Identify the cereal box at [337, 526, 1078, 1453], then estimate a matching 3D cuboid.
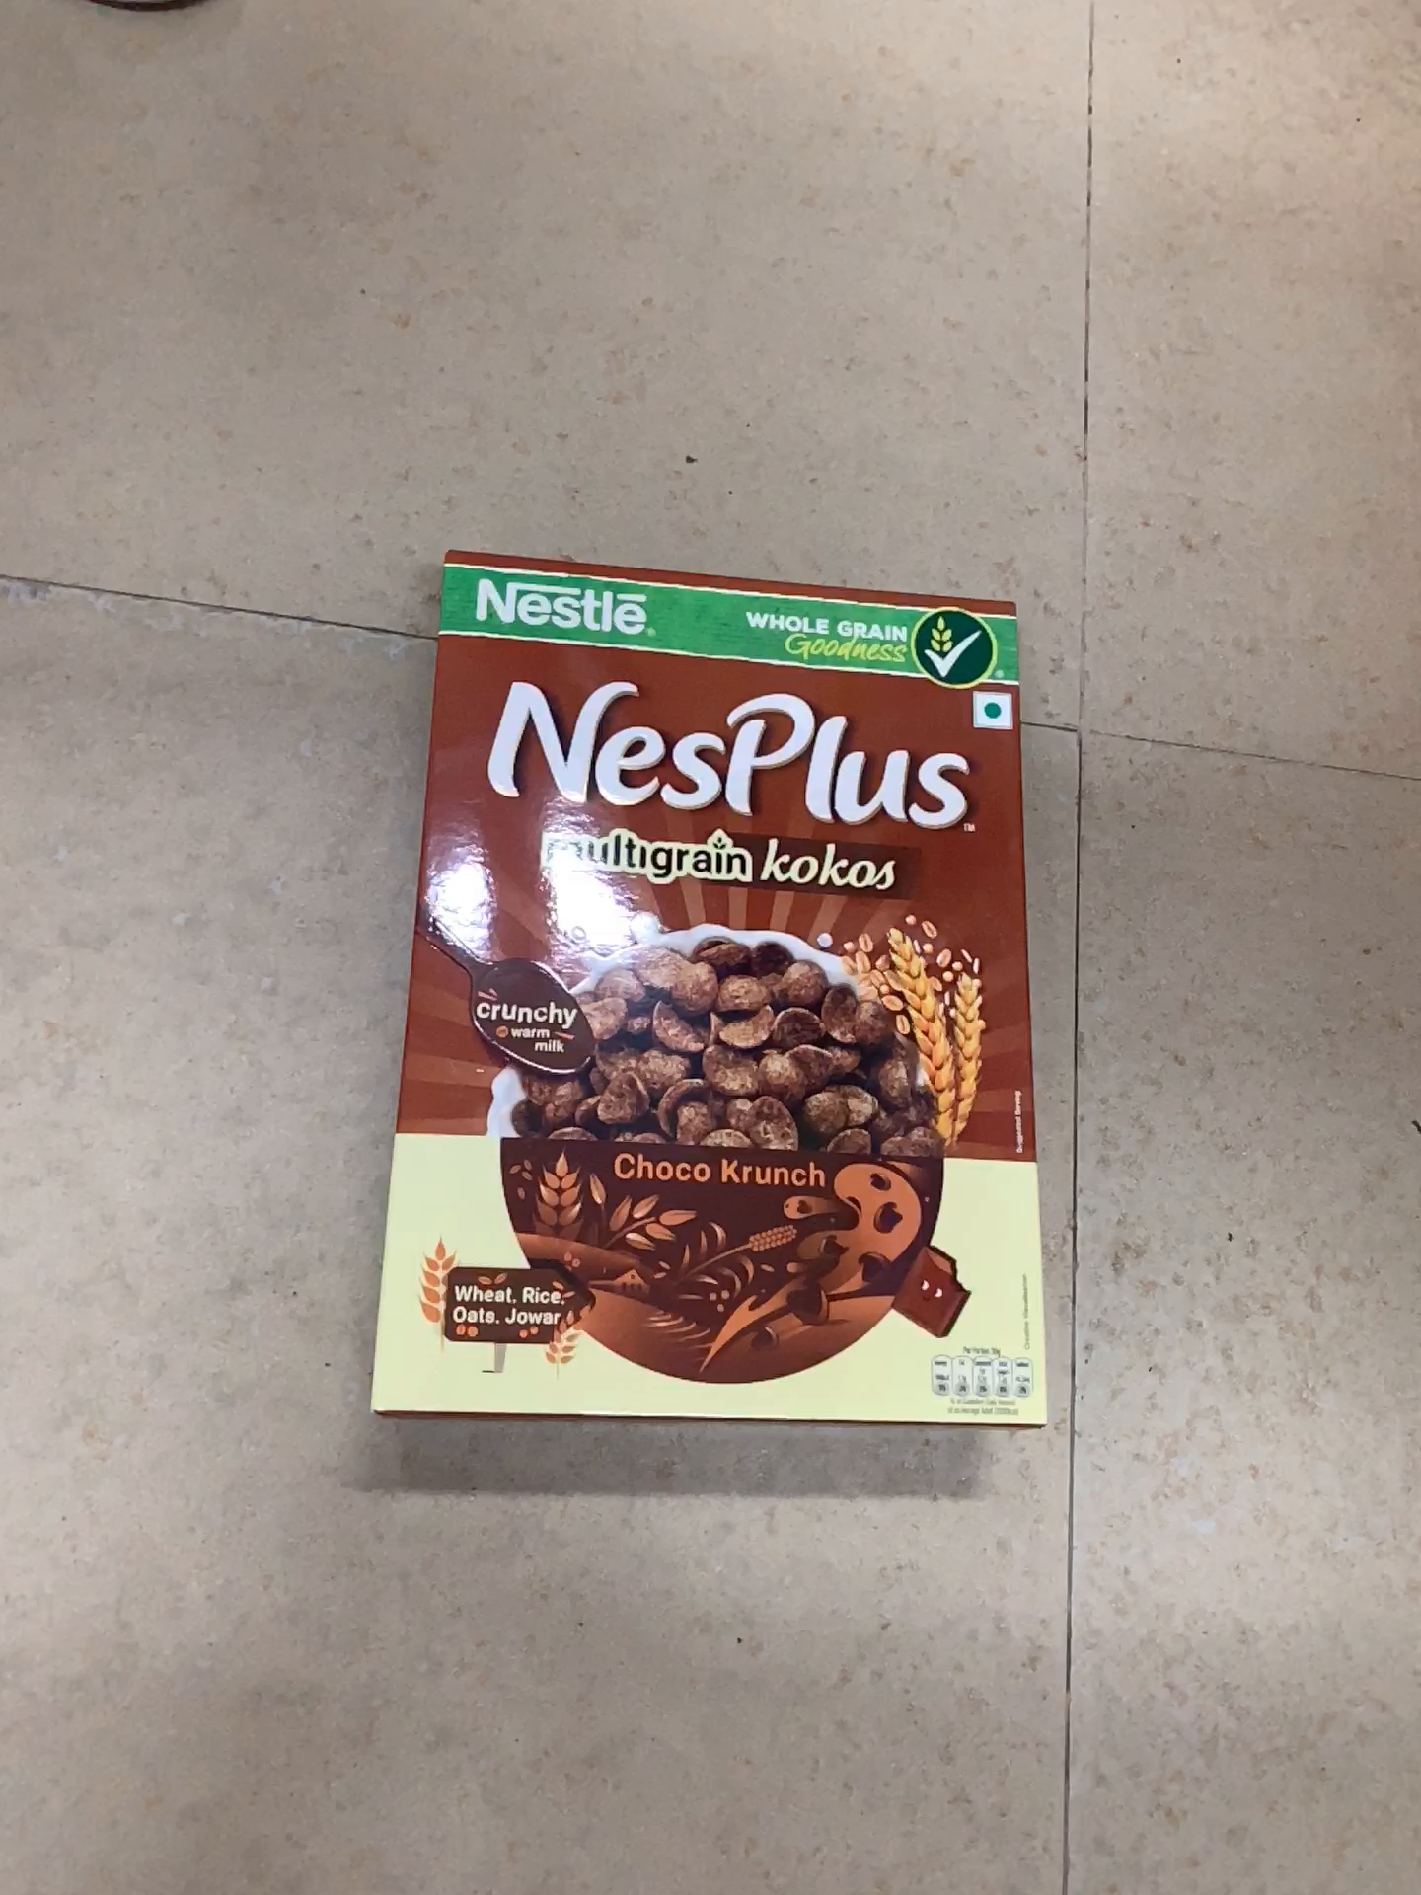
[{"bbox_3d":[0.001,0.017,0.489,0.210,0.090,0.280,4,74,-7],"label":"cereal box"}]
